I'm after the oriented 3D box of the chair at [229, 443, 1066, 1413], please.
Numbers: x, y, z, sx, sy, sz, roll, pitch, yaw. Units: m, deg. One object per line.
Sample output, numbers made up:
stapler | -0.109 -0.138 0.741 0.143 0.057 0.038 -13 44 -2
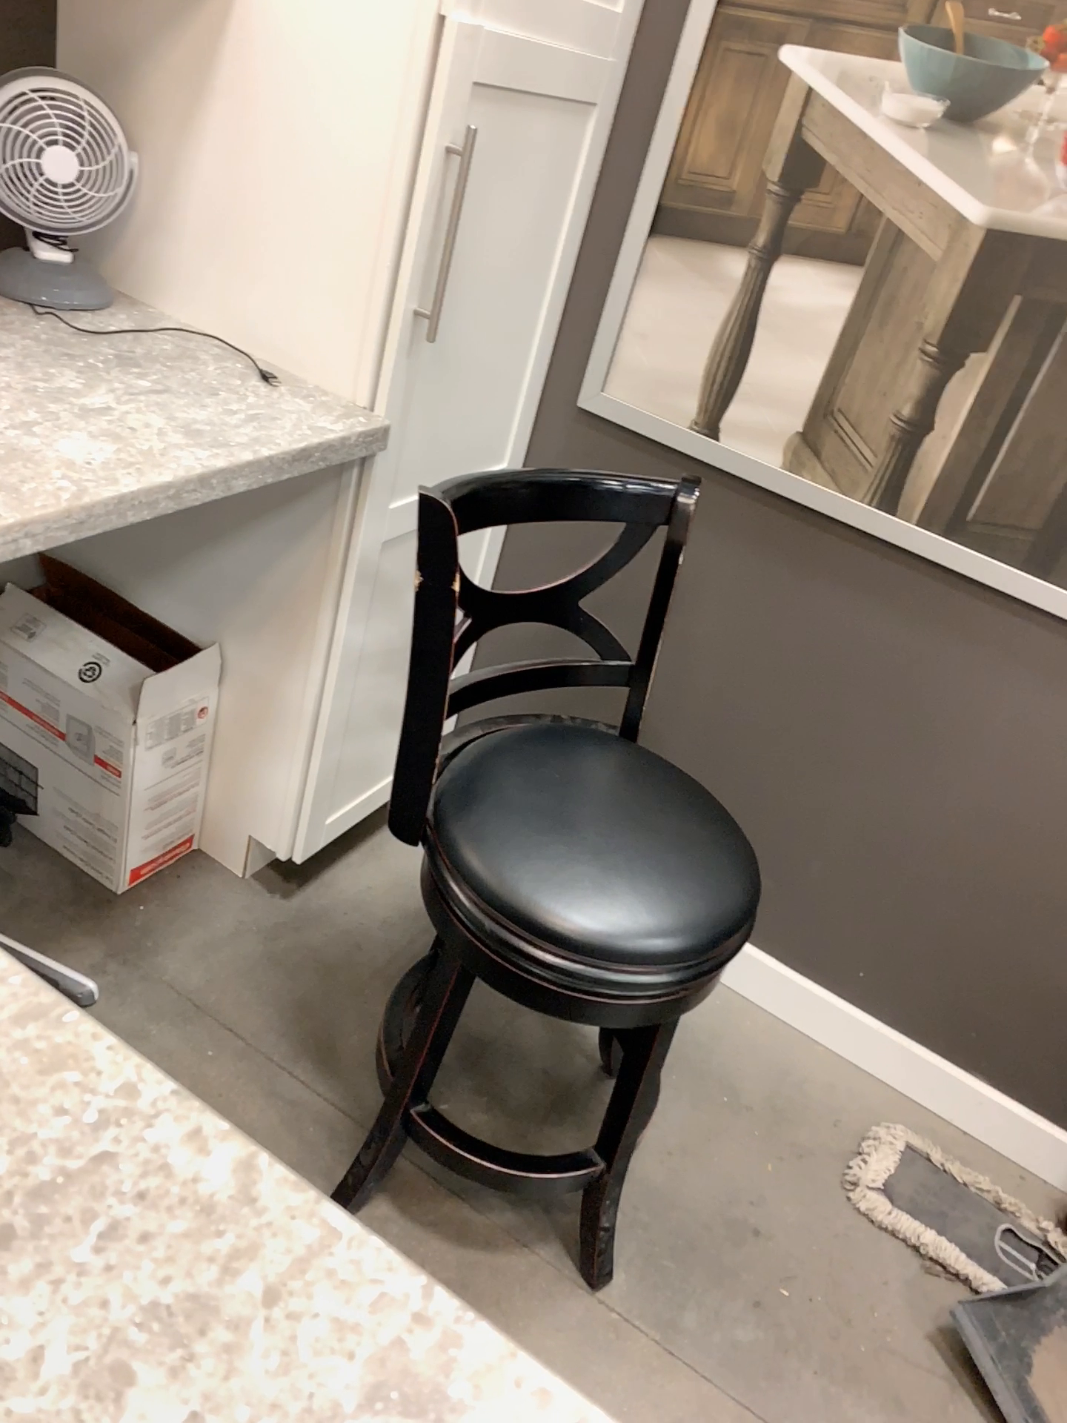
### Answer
chair | 0.058 0.223 1.364 0.559 0.912 0.606 -13 43 -39
